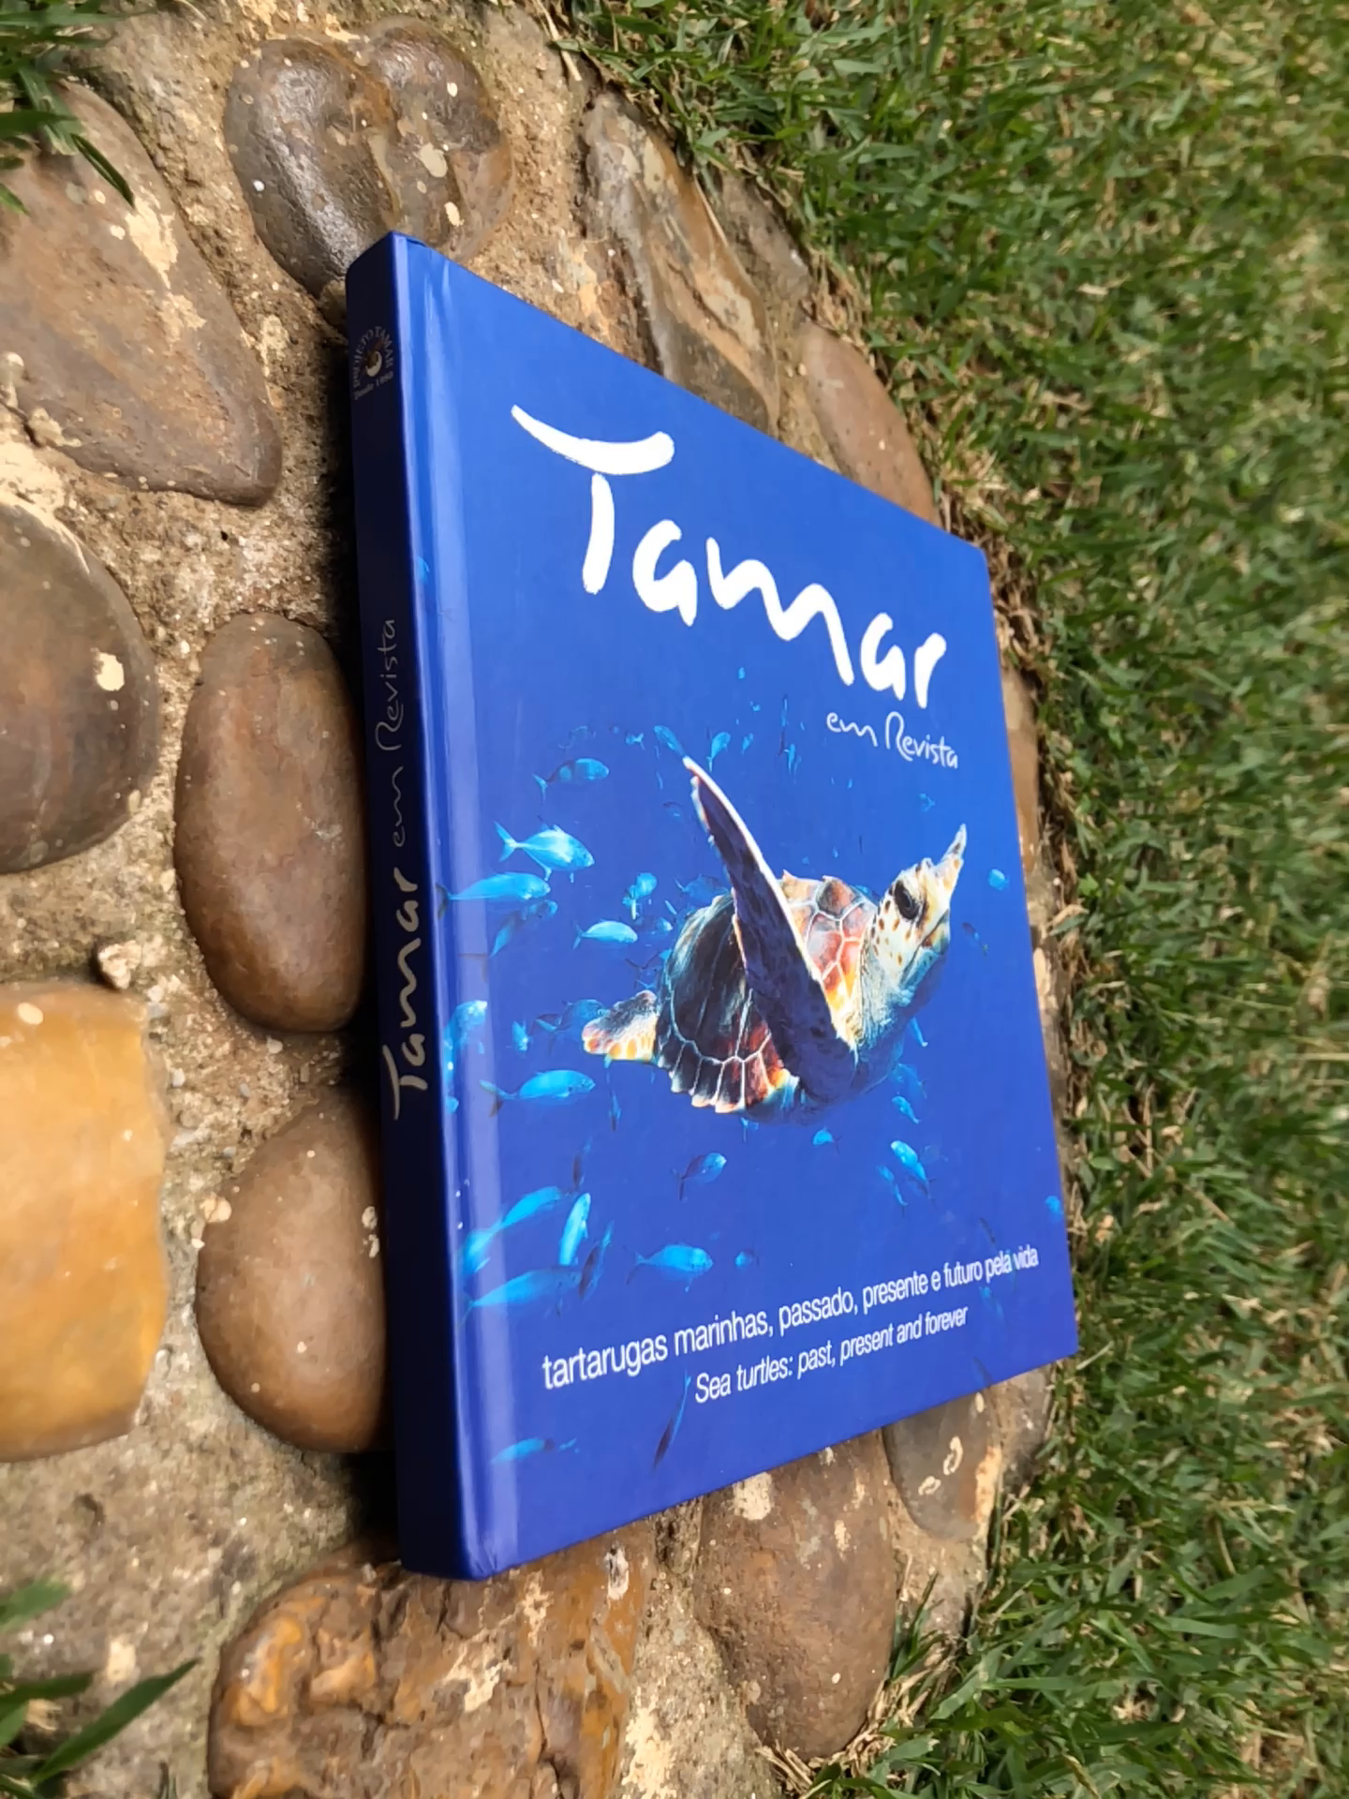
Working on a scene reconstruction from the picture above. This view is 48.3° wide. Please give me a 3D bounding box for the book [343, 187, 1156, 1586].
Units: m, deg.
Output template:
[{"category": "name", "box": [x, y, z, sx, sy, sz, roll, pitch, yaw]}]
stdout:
[{"category": "book", "box": [0.026, 0.001, 0.251, 0.180, 0.020, 0.166, 7, 75, -50]}]
